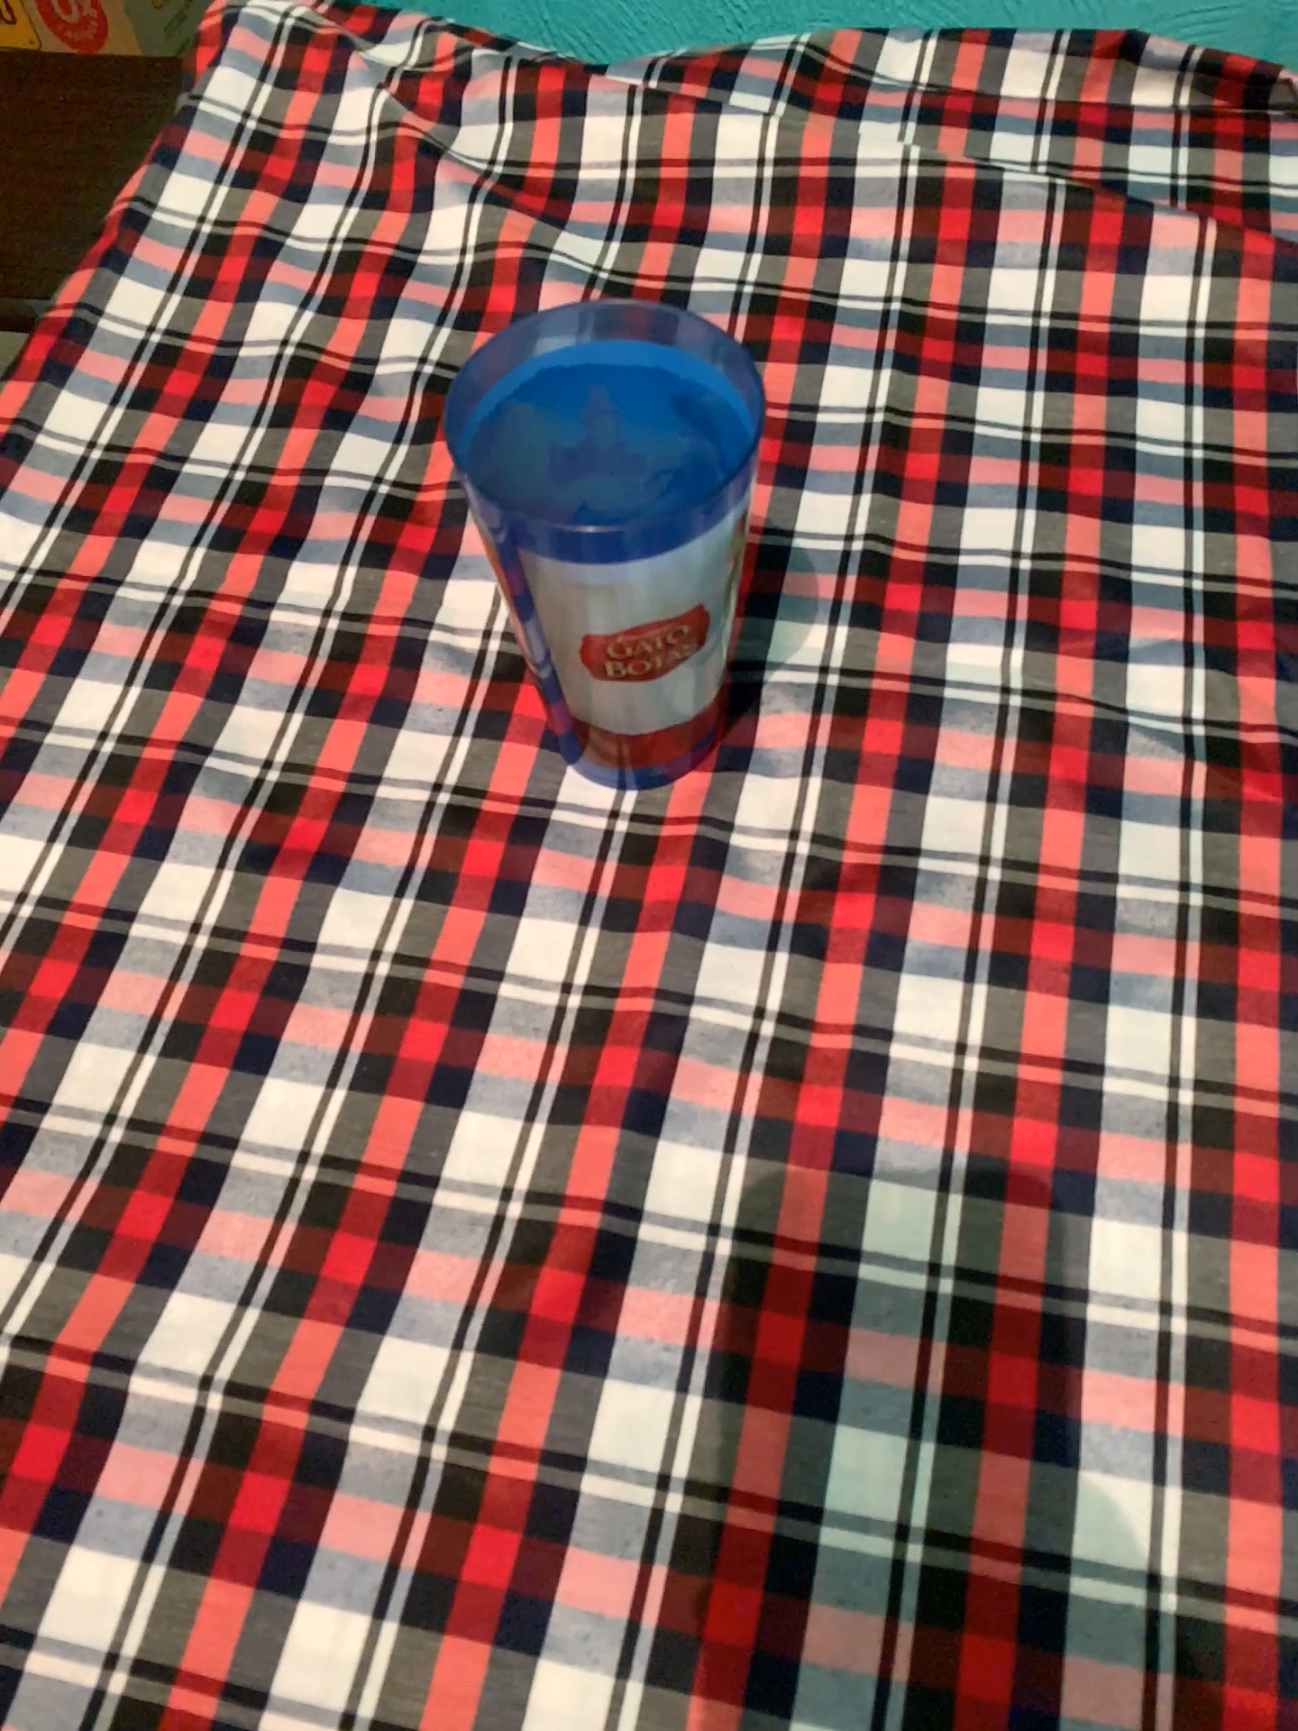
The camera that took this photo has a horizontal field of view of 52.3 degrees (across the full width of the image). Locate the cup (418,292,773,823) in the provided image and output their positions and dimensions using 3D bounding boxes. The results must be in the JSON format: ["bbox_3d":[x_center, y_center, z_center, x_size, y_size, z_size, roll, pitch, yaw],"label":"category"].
[{"bbox_3d":[-0.012,-0.089,0.412,0.090,0.130,0.090,-2,60,3],"label":"cup"}]
